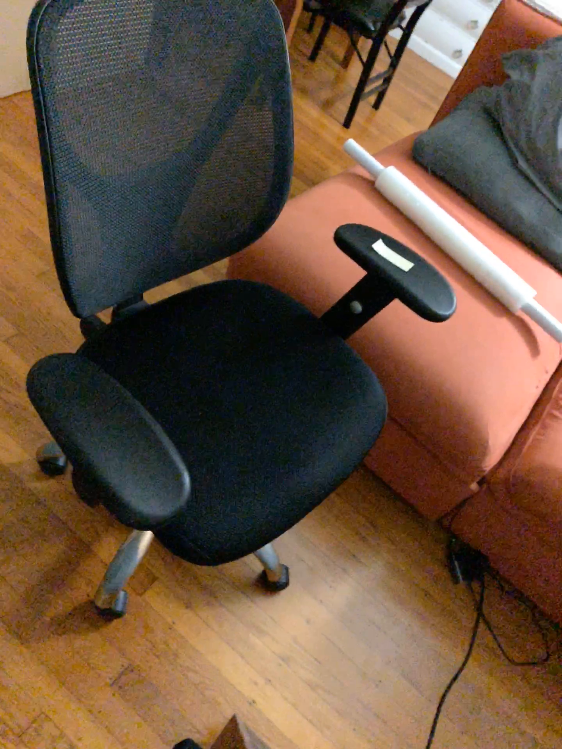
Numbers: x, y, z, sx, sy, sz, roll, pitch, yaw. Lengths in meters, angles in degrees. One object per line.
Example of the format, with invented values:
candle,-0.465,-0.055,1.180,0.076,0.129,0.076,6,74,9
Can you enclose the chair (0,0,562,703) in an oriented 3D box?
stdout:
chair,-0.089,-0.065,0.985,0.642,0.976,0.661,-30,66,-37
